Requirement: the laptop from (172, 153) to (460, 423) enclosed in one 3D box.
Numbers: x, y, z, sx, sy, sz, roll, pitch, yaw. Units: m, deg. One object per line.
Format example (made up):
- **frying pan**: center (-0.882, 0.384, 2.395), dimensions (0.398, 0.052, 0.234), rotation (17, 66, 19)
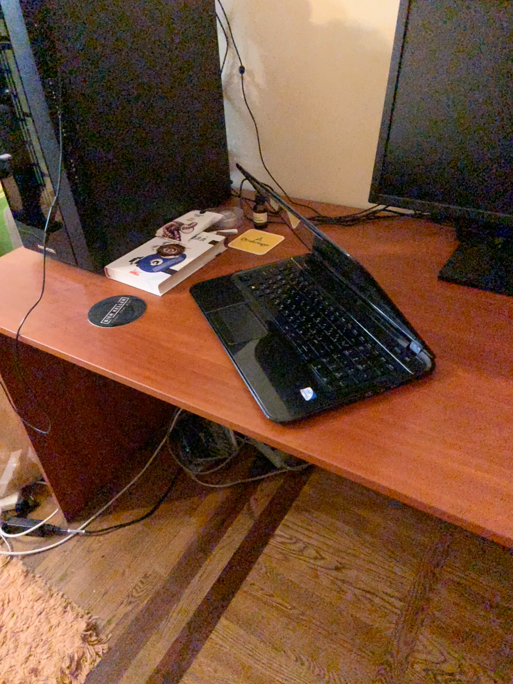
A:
- **laptop**: center (0.057, -0.110, 0.763), dimensions (0.244, 0.194, 0.372), rotation (-17, 38, -16)
